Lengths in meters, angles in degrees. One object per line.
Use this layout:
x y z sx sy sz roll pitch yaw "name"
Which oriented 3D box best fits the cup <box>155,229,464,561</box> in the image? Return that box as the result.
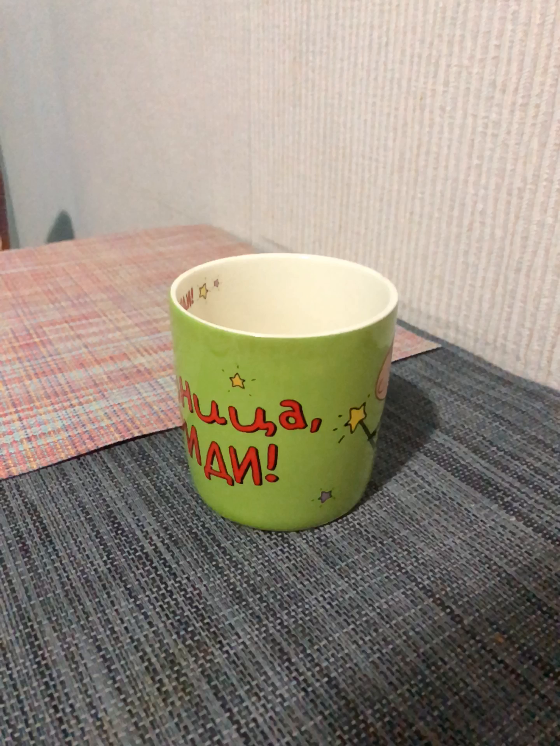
0.001 -0.002 0.261 0.089 0.084 0.116 -7 29 -14 "cup"
